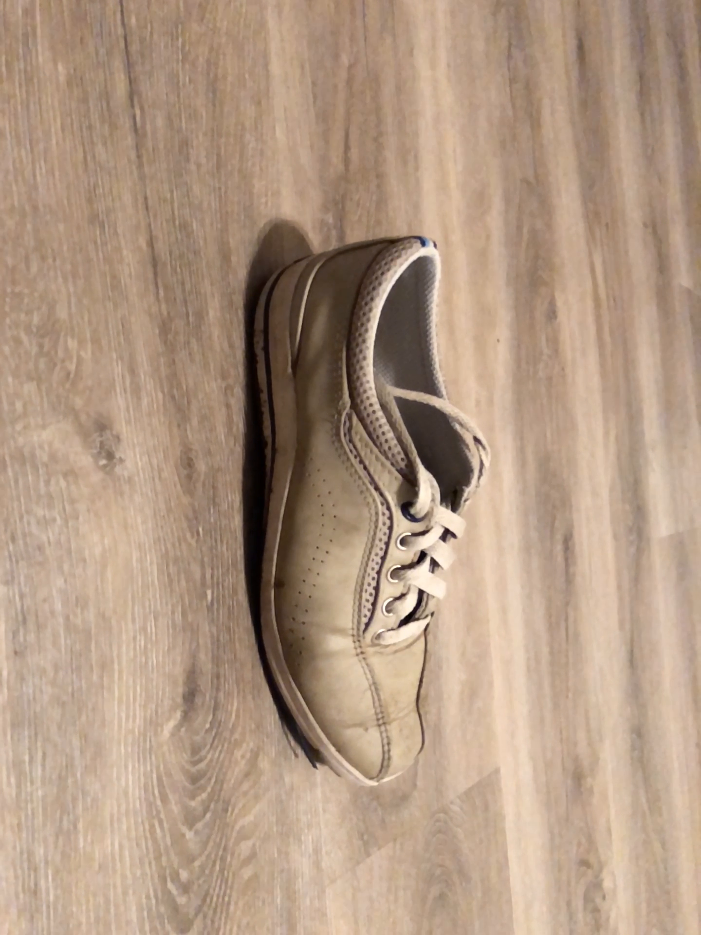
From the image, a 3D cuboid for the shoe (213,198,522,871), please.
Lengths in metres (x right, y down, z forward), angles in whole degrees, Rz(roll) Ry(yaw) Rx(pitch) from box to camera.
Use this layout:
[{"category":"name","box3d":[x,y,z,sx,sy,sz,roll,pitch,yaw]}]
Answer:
[{"category":"shoe","box3d":[0.011,0.025,0.343,0.091,0.070,0.250,-7,91,-53]}]
